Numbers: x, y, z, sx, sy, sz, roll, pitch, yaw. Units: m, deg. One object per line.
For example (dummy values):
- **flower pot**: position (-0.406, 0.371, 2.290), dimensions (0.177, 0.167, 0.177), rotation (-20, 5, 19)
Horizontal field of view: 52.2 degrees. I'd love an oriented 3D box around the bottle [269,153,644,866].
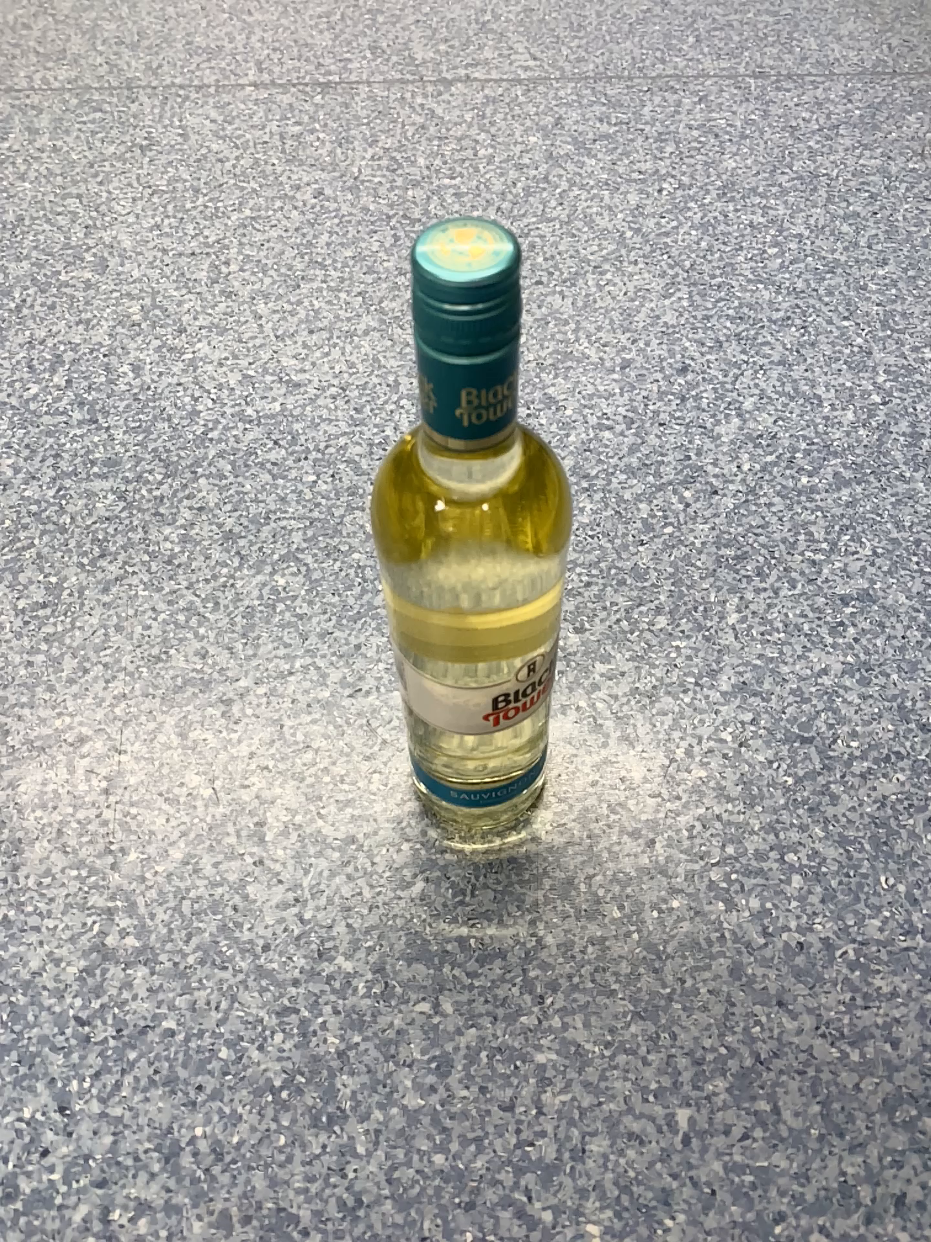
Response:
- **bottle**: position (0.001, -0.007, 0.368), dimensions (0.071, 0.306, 0.065), rotation (-1, 55, 1)
